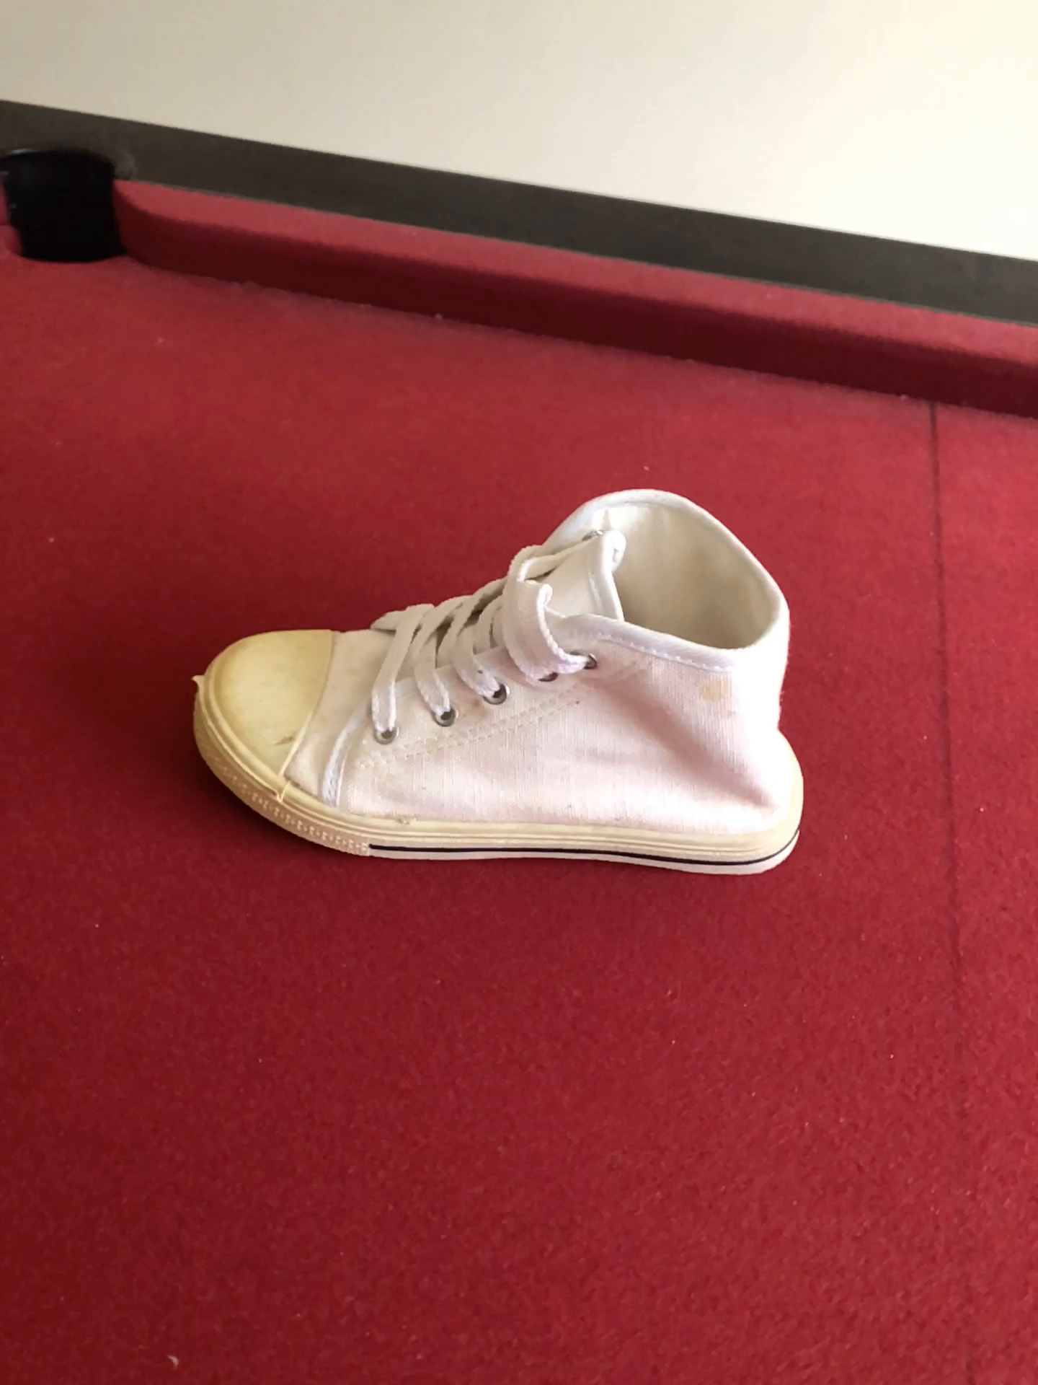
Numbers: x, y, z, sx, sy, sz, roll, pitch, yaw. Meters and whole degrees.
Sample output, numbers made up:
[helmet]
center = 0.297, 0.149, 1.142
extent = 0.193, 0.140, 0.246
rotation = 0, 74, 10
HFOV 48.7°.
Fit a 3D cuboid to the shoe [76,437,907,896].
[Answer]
[shoe]
center = -0.008, -0.009, 0.371
extent = 0.220, 0.089, 0.101
rotation = 4, 42, -1
